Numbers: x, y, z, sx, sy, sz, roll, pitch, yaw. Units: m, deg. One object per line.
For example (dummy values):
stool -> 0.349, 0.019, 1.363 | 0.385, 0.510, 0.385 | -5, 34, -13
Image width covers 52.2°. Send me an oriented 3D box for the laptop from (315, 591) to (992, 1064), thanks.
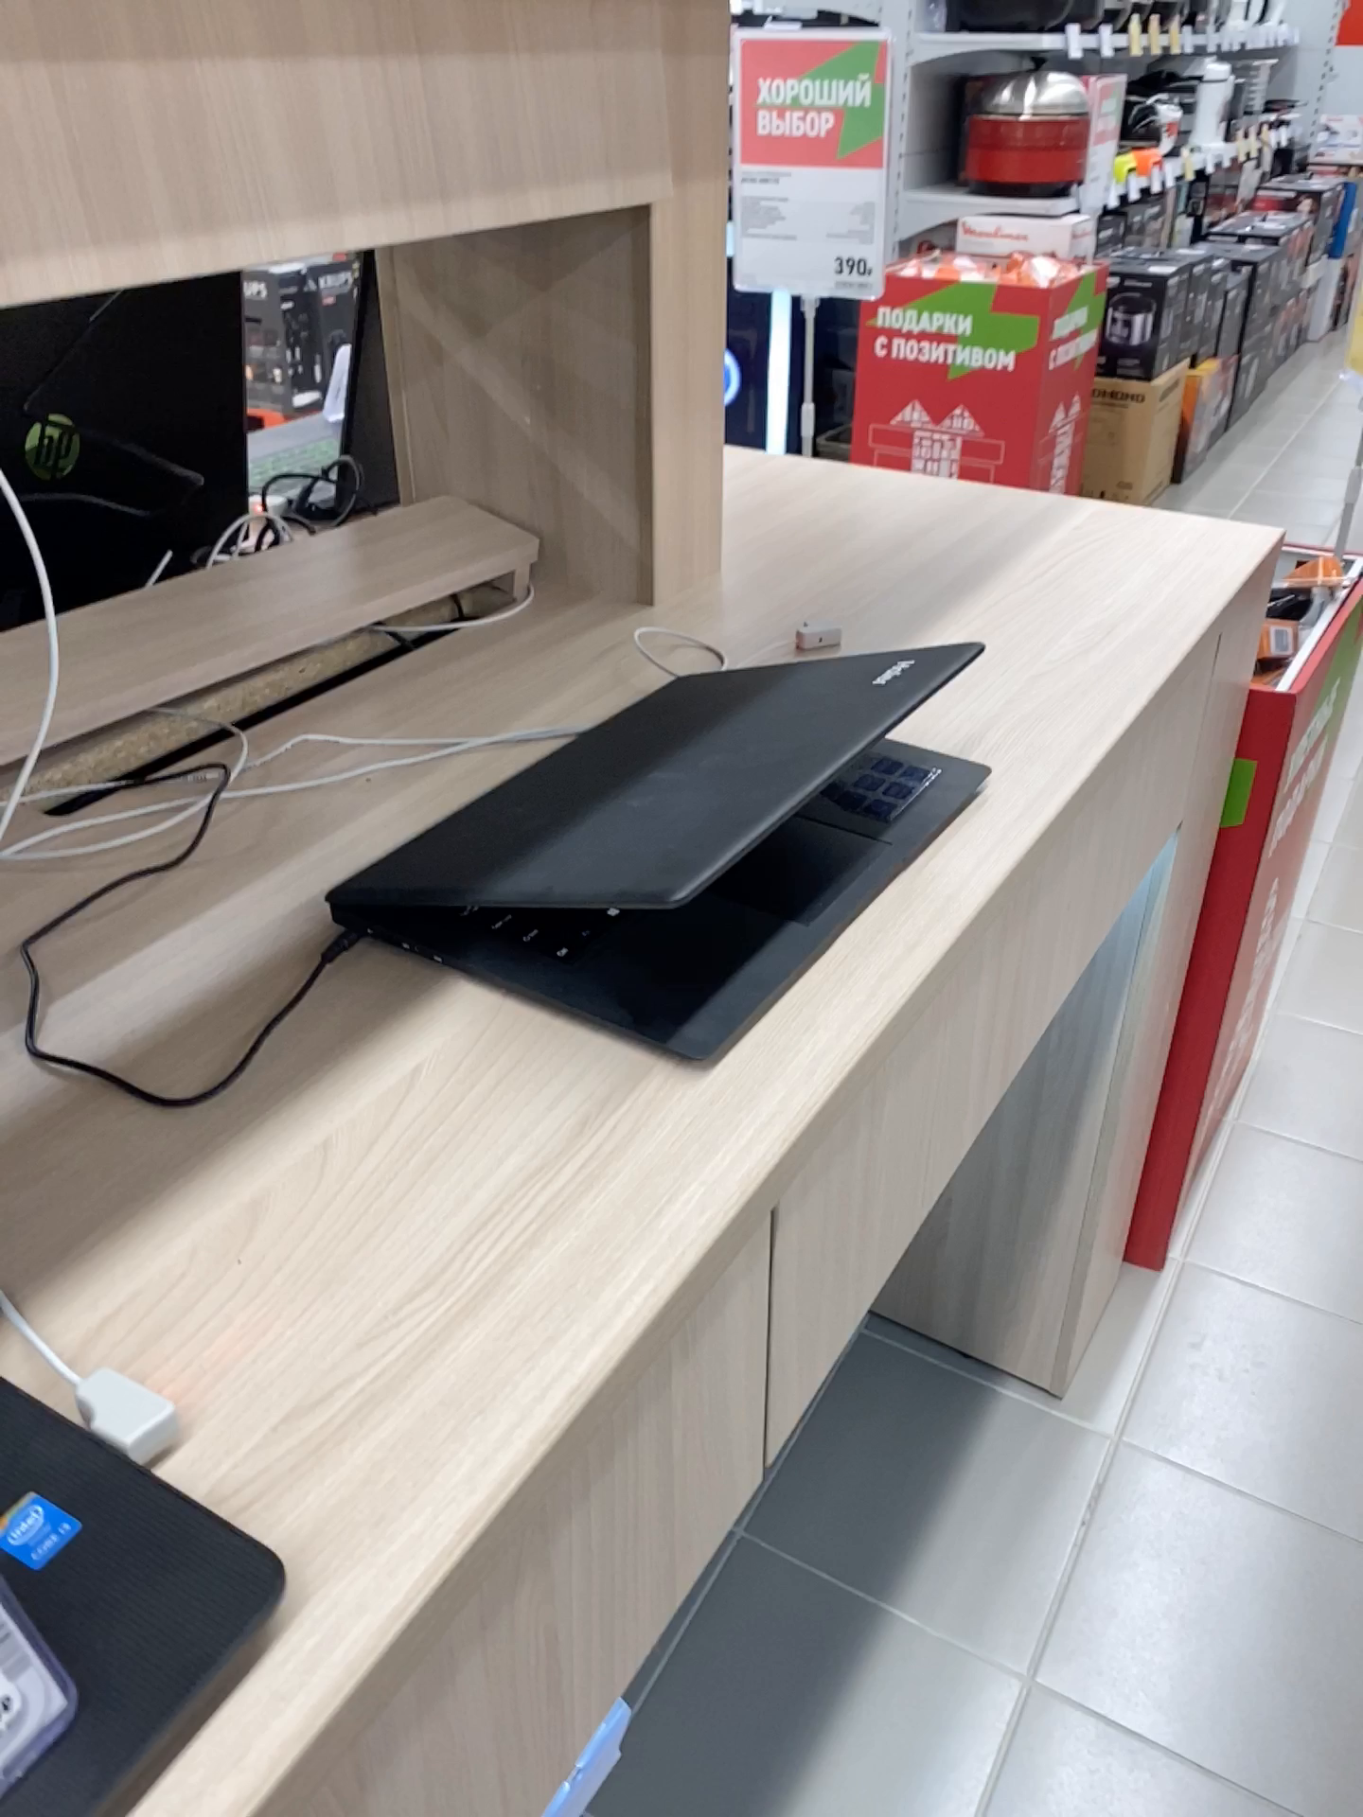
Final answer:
laptop -> 0.003, -0.066, 0.716 | 0.201, 0.072, 0.320 | 19, 36, 26
